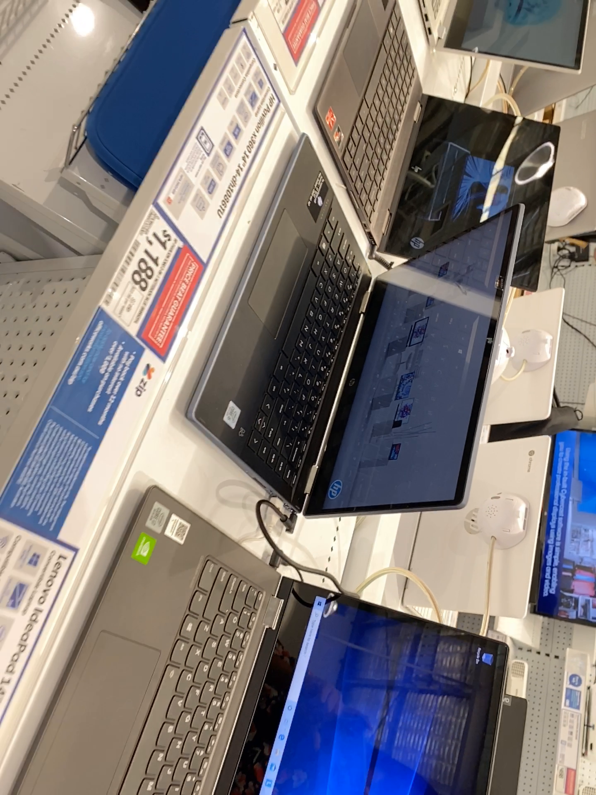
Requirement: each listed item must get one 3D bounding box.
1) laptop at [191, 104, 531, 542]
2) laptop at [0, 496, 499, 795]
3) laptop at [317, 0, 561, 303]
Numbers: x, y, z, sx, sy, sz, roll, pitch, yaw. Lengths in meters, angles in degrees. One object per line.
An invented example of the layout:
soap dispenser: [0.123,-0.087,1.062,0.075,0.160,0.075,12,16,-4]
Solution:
laptop: [0.087,-0.062,0.574,0.212,0.189,0.313,51,50,-50]
laptop: [-0.004,0.282,0.433,0.295,0.199,0.306,53,47,-48]
laptop: [0.209,-0.348,0.773,0.326,0.173,0.326,50,49,-48]
